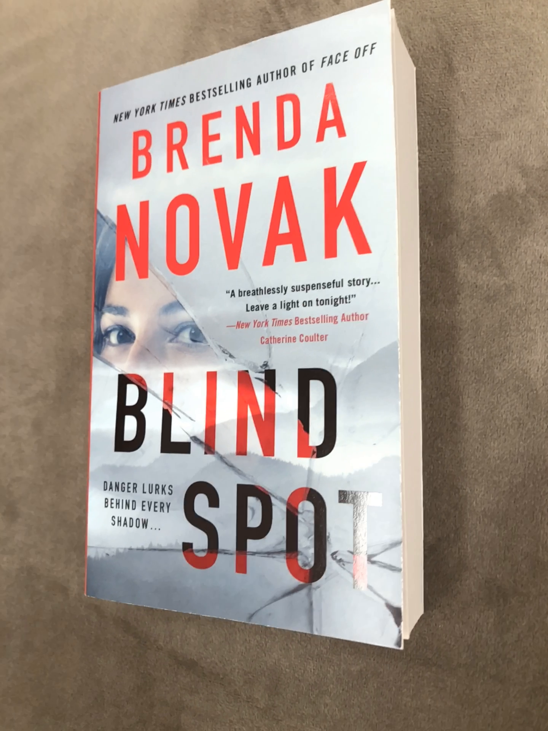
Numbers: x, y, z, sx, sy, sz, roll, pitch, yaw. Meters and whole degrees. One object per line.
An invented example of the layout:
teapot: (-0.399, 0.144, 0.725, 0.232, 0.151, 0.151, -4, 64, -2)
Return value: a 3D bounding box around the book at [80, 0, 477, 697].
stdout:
book: (-0.001, -0.011, 0.208, 0.120, 0.050, 0.190, -3, 84, 30)
